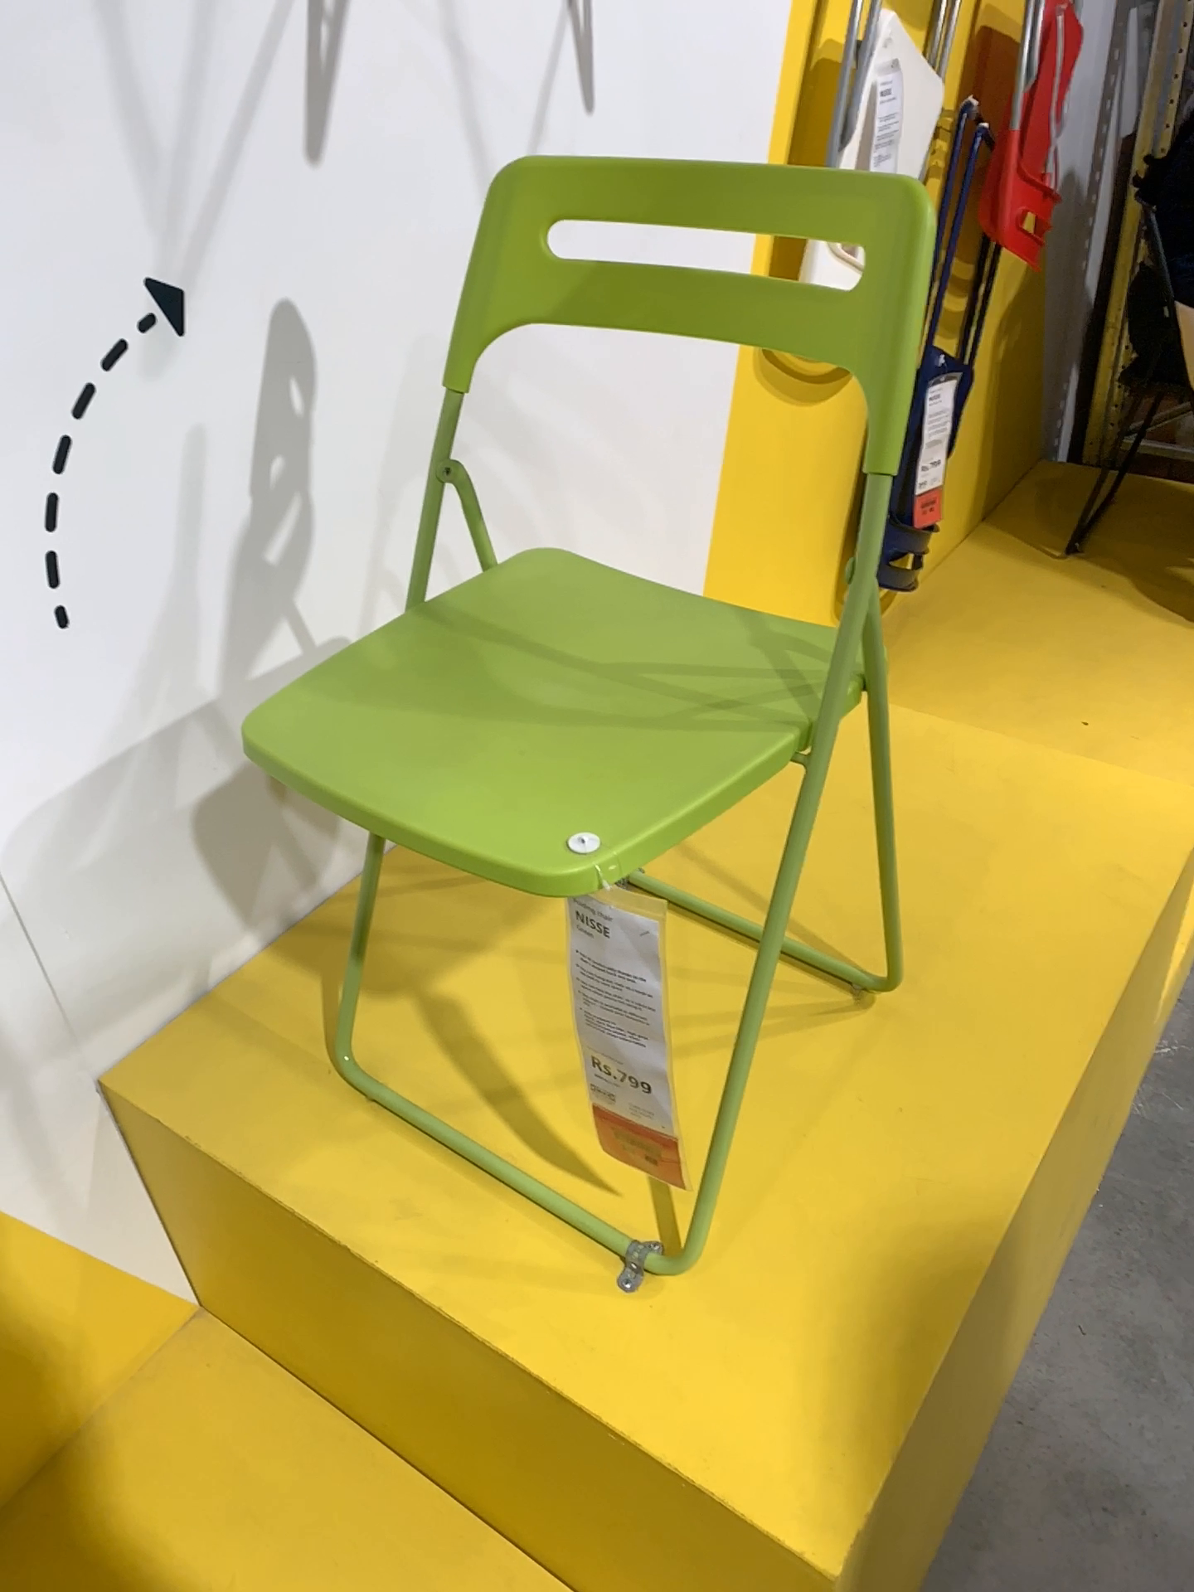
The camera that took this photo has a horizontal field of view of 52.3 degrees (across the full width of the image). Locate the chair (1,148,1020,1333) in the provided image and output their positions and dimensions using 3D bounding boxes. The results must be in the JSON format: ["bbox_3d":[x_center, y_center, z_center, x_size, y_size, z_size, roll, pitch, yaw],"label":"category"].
[{"bbox_3d":[-0.018,-0.069,0.972,0.451,0.717,0.461,21,43,31],"label":"chair"}]
